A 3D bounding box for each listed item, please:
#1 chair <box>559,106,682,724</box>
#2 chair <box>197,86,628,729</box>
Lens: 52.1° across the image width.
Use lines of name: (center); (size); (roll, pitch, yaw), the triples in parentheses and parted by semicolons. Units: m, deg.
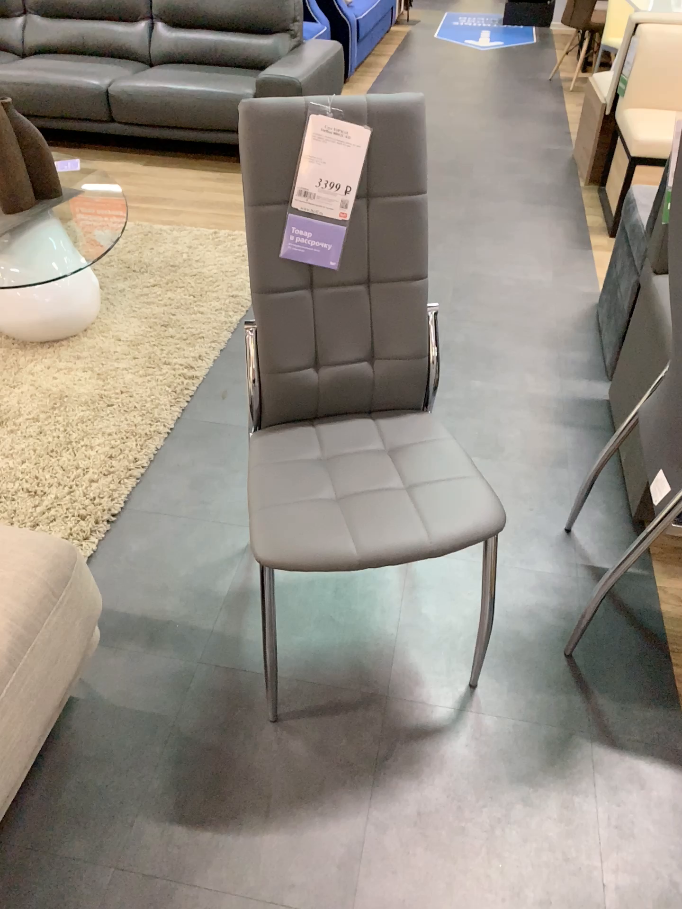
chair: (0.806, -0.027, 1.325); (0.550, 1.024, 0.452); (10, 40, 10)
chair: (0.040, -0.046, 1.289); (0.470, 1.024, 0.533); (-6, 40, -9)
